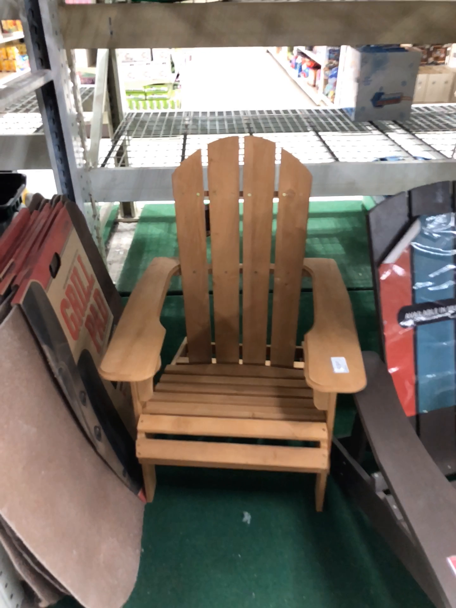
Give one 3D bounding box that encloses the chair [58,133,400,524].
[{"bbox_3d":[0.026,0.042,1.456,0.641,0.885,0.690,2,33,4],"label":"chair"}]
